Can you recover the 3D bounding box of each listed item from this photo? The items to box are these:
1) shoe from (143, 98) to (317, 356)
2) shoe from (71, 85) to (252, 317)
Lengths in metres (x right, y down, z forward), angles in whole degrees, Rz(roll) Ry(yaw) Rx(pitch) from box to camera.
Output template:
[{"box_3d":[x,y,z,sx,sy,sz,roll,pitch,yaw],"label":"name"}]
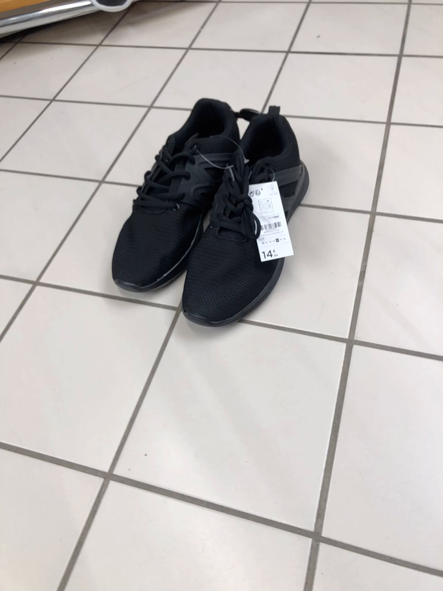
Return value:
[{"box_3d":[0.029,-0.097,0.587,0.100,0.109,0.312,12,55,17],"label":"shoe"},{"box_3d":[-0.057,-0.137,0.641,0.100,0.109,0.312,12,55,17],"label":"shoe"}]
